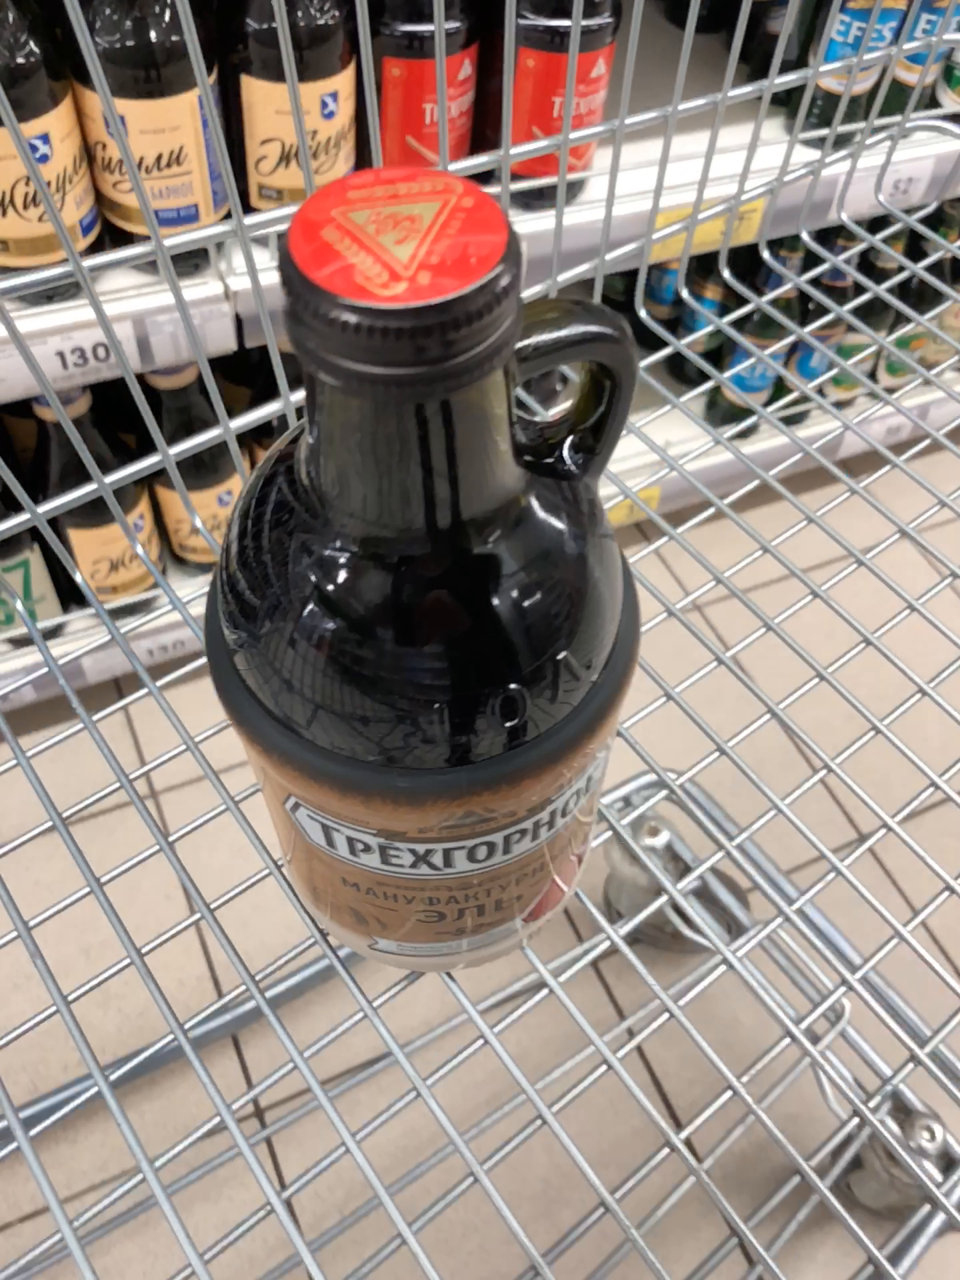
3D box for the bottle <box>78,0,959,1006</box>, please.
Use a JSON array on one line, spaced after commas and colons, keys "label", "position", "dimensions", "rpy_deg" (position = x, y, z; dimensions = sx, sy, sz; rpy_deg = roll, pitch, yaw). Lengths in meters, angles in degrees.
[{"label": "bottle", "position": [-0.005, -0.006, 0.252], "dimensions": [0.110, 0.229, 0.100], "rpy_deg": [2, 54, -2]}]
